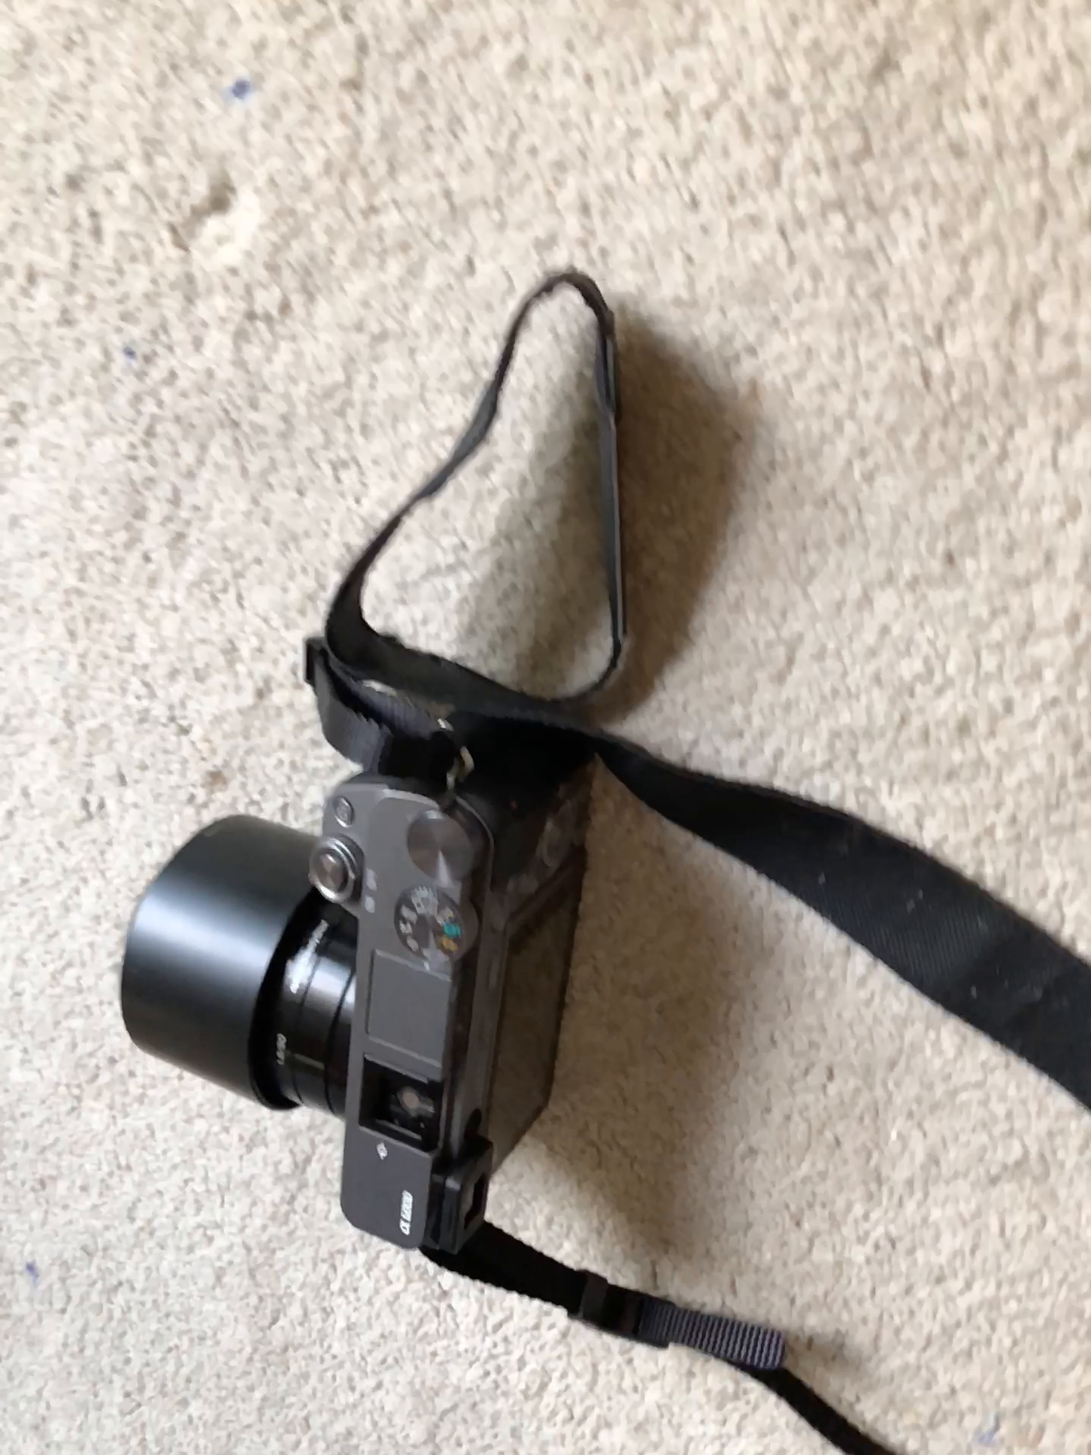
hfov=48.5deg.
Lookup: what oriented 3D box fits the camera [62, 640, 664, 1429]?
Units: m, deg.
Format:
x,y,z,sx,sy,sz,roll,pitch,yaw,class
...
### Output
x,y,z,sx,sy,sz,roll,pitch,yaw,class
-0.044,0.065,0.289,0.110,0.070,0.140,14,112,21,camera
